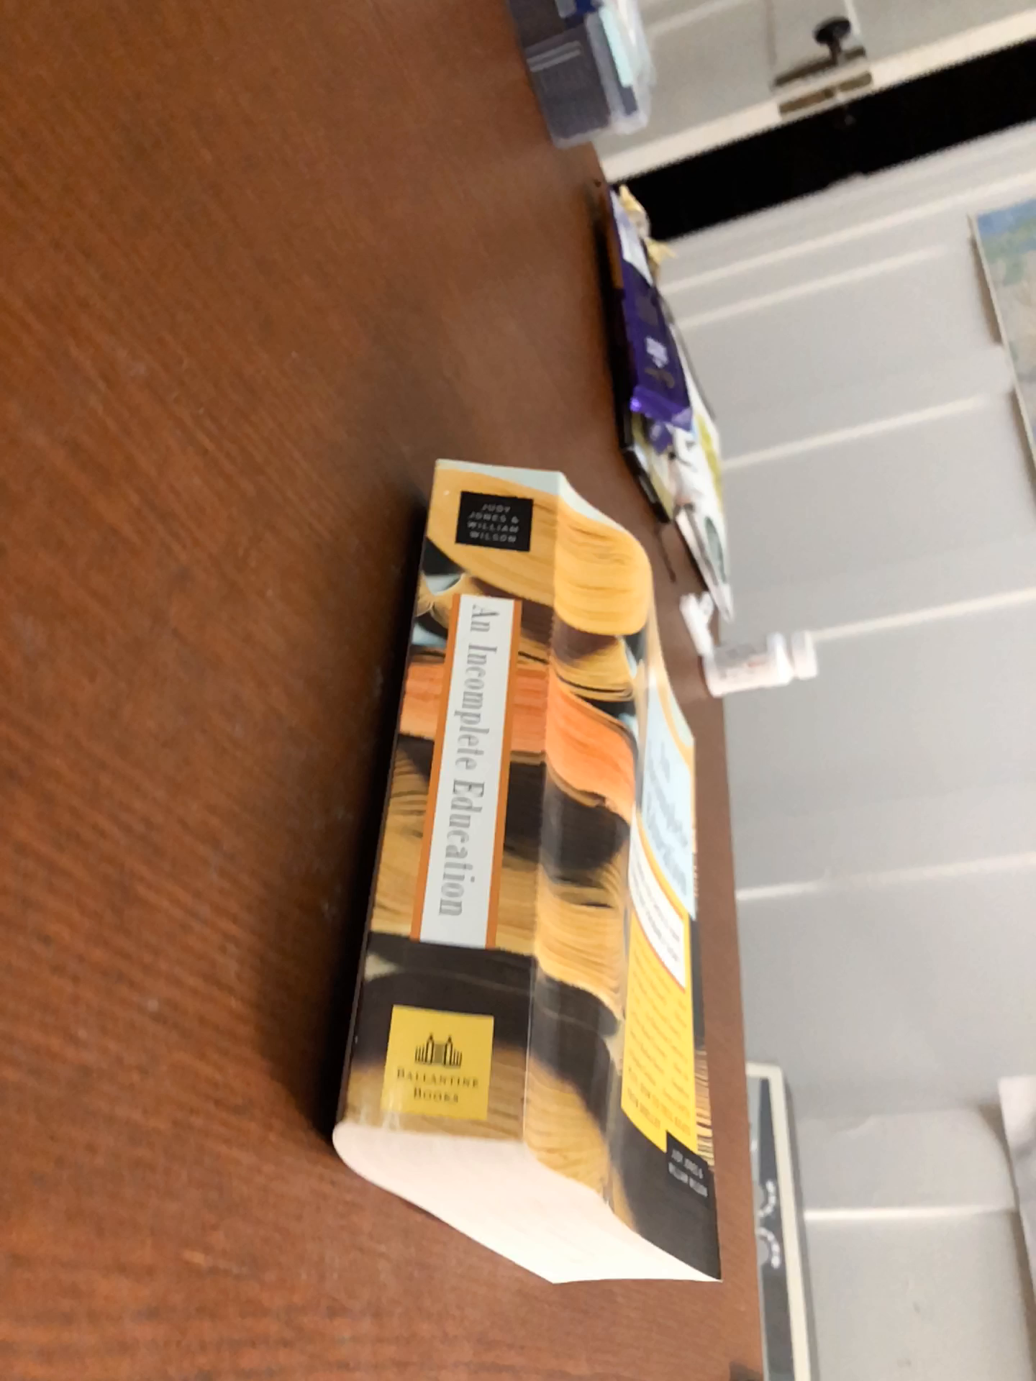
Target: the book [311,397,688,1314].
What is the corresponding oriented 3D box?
[{"bbox_3d":[0.015,0.065,0.408,0.210,0.060,0.251,67,22,-52],"label":"book"}]
